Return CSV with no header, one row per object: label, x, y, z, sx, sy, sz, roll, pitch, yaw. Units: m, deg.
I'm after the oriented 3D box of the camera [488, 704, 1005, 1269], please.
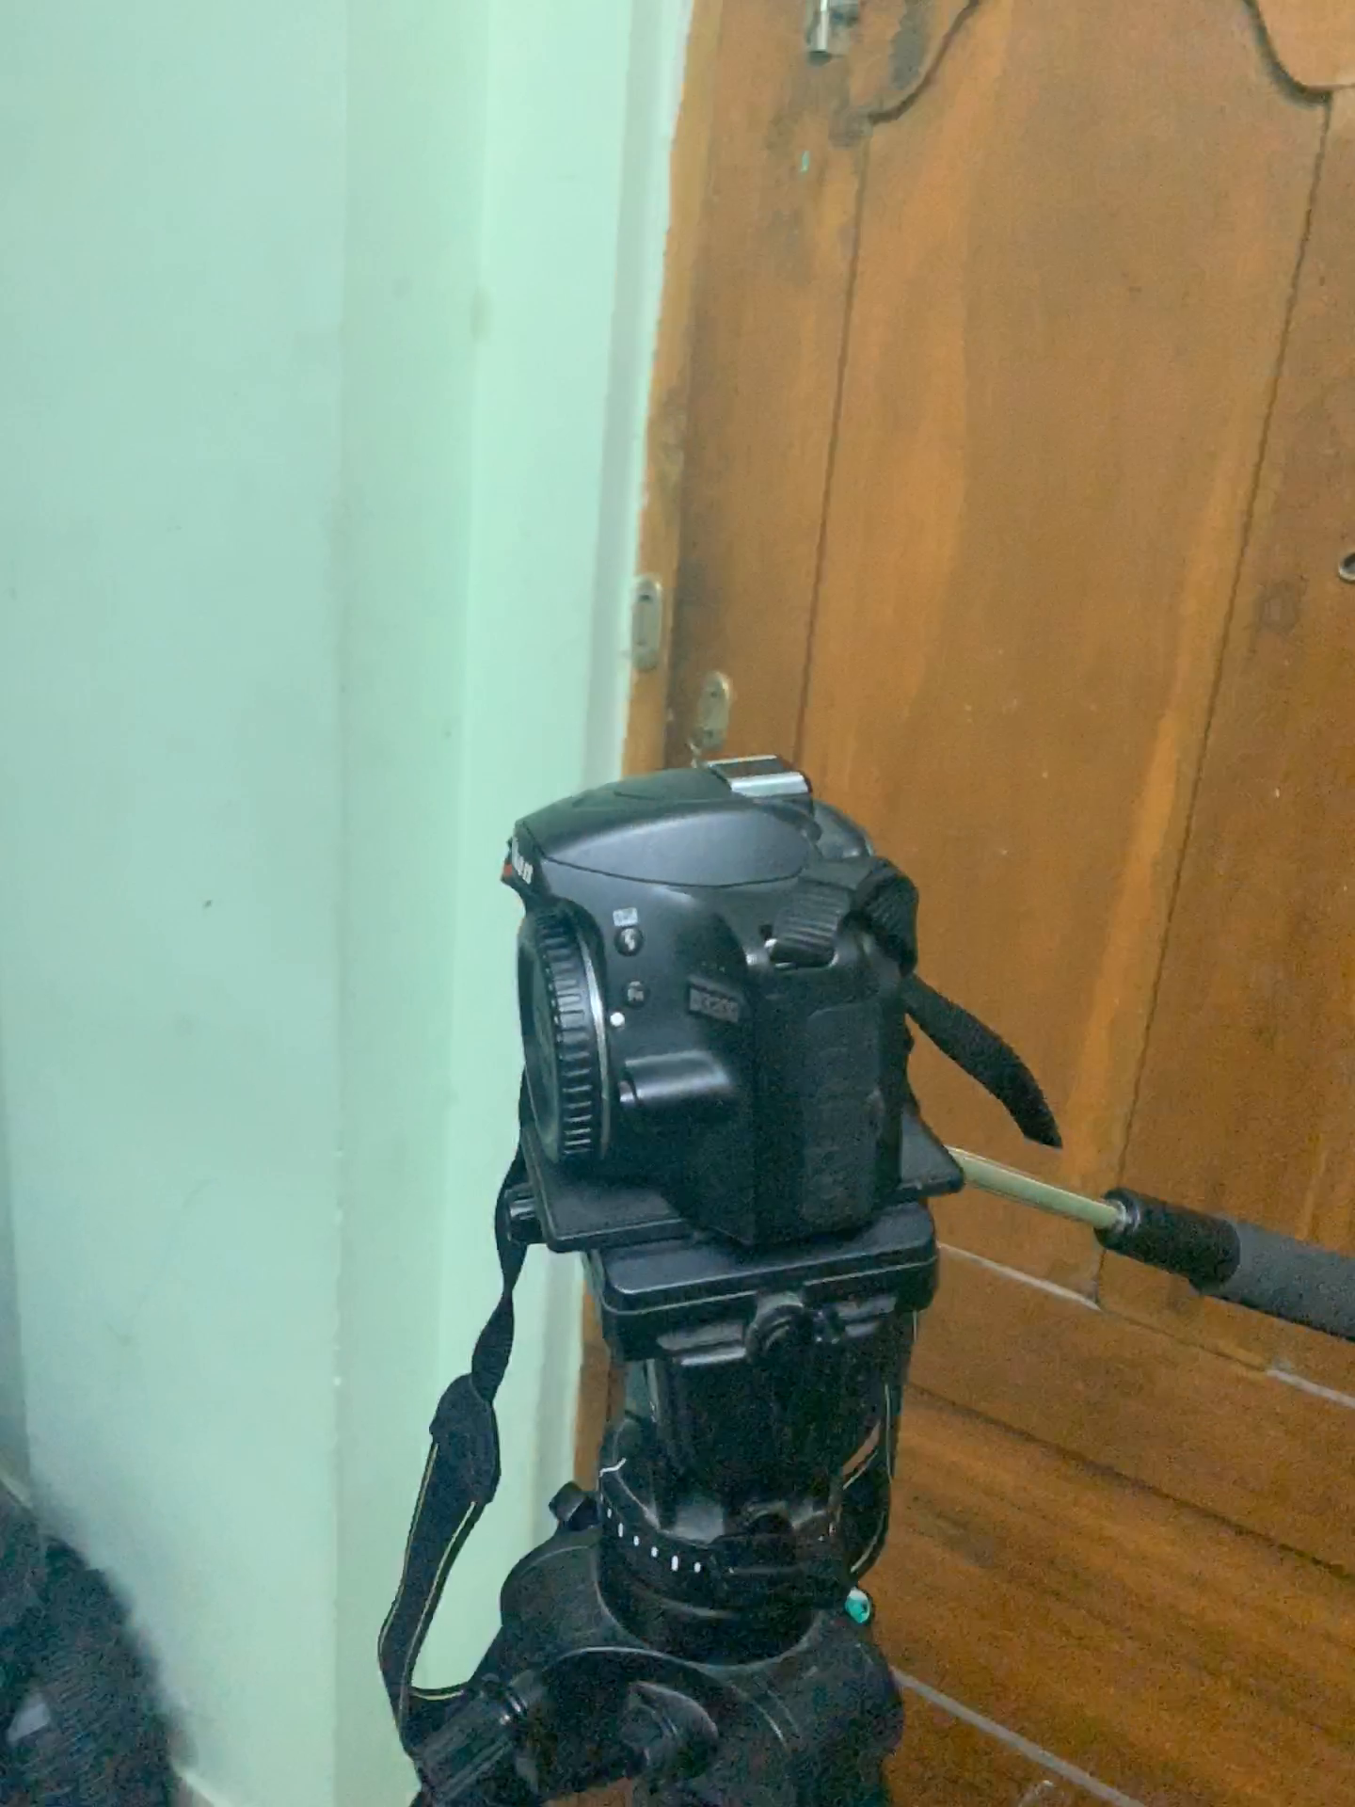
camera,0.006,0.011,0.339,0.086,0.096,0.118,0,18,-15
